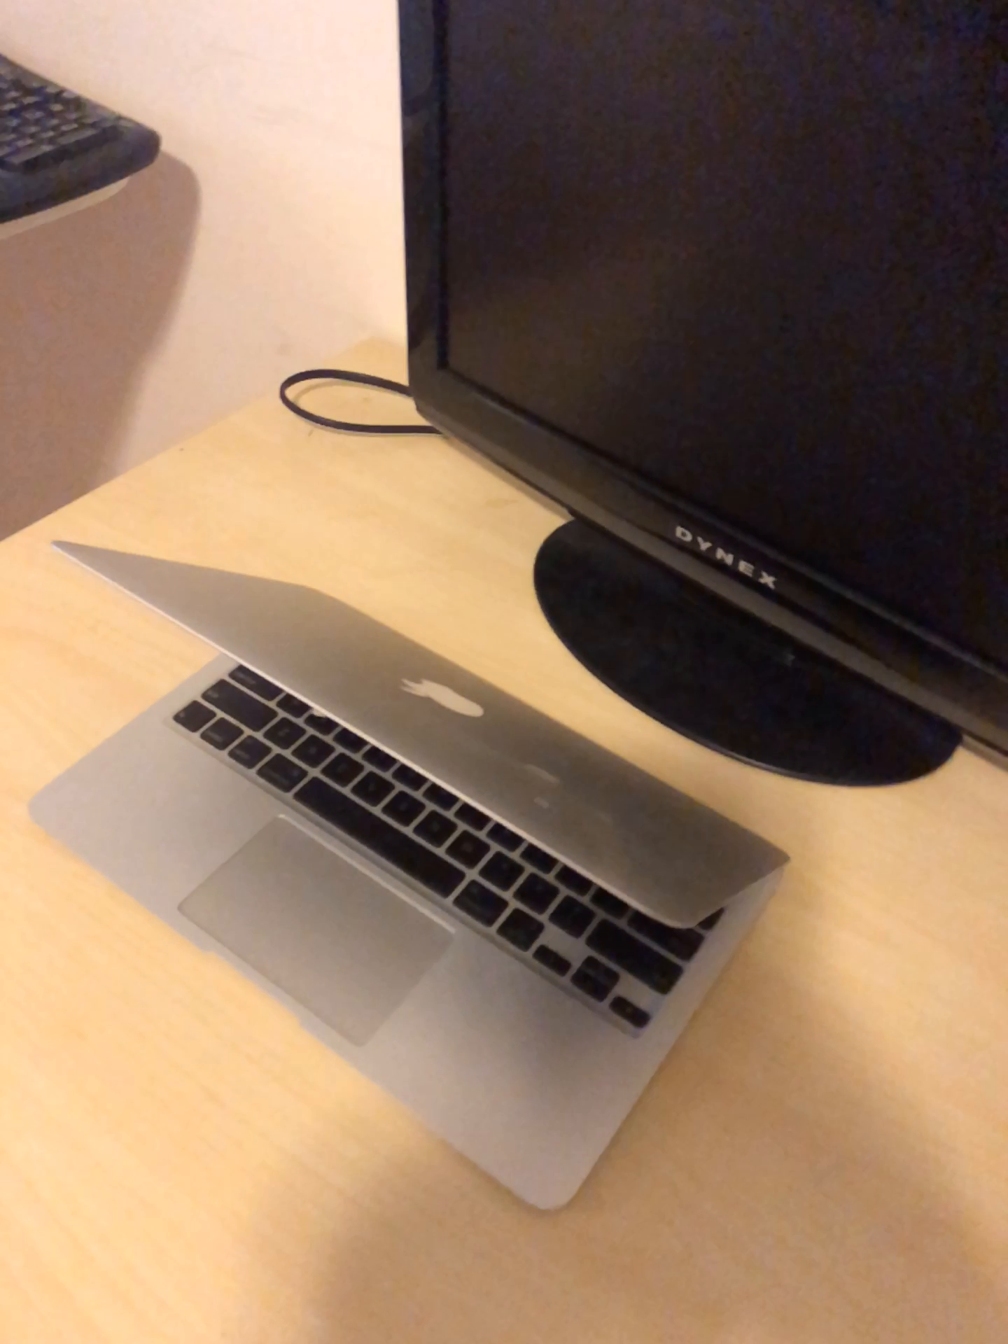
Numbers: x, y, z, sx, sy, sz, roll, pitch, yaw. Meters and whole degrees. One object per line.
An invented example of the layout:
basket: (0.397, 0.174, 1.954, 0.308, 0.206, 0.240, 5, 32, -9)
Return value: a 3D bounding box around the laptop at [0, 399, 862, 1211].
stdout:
laptop: (-0.039, 0.029, 0.457, 0.287, 0.127, 0.190, 29, 49, 23)
